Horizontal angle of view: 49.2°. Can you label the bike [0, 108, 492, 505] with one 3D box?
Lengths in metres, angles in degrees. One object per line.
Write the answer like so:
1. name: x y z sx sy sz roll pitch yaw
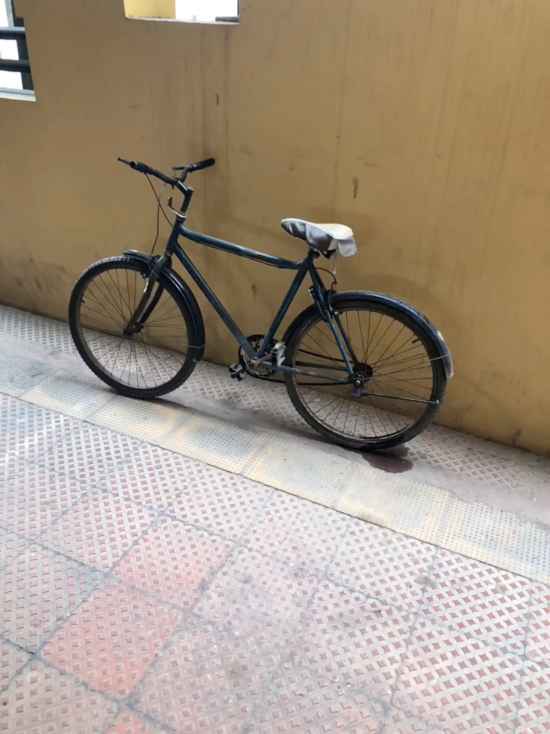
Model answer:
1. bike: -0.148 -0.267 2.210 1.547 0.998 0.544 14 32 14
